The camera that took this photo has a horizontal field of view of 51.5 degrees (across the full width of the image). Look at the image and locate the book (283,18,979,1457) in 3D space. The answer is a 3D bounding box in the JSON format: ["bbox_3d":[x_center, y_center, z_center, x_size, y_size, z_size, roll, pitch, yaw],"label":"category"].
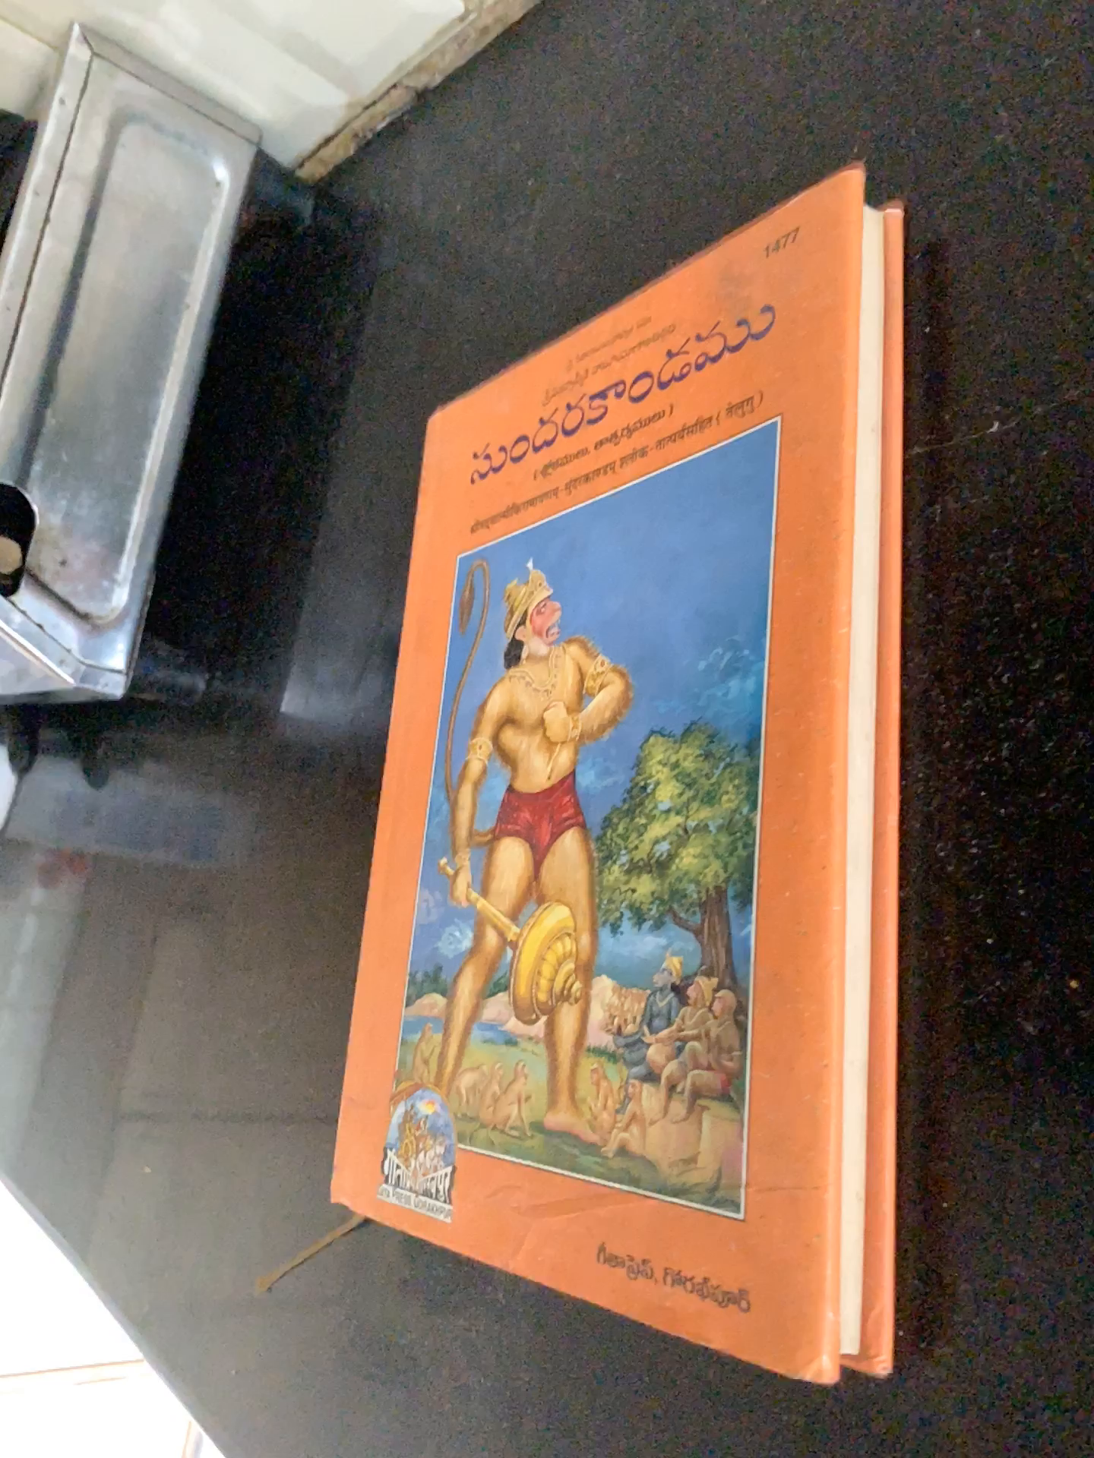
[{"bbox_3d":[0.015,-0.005,0.316,0.201,0.040,0.300,-11,68,49],"label":"book"}]
